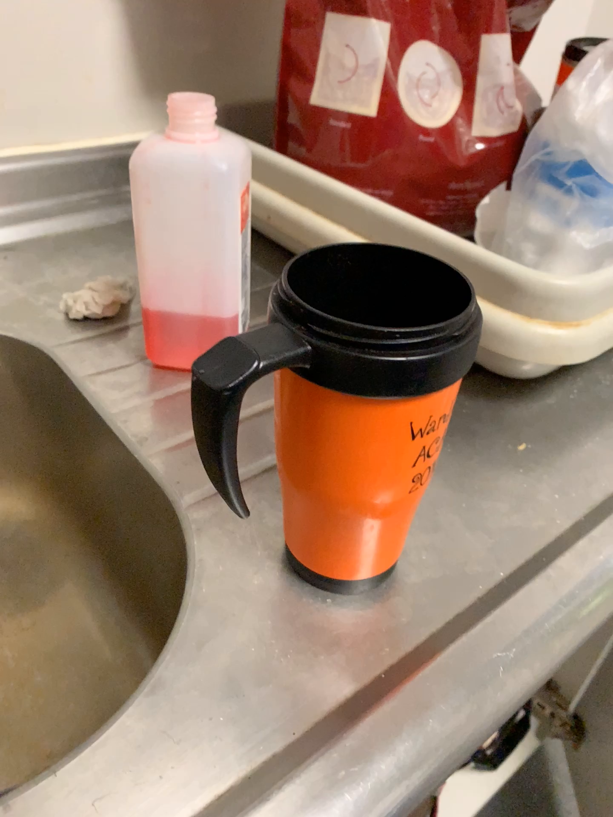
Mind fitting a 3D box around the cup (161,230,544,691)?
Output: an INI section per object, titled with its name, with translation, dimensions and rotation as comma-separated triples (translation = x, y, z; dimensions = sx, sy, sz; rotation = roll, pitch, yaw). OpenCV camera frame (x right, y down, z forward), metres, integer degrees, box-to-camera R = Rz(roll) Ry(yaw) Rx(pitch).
[cup]
translation = 0.017, 0.020, 0.310
dimensions = 0.135, 0.164, 0.090
rotation = -25, 46, -34
